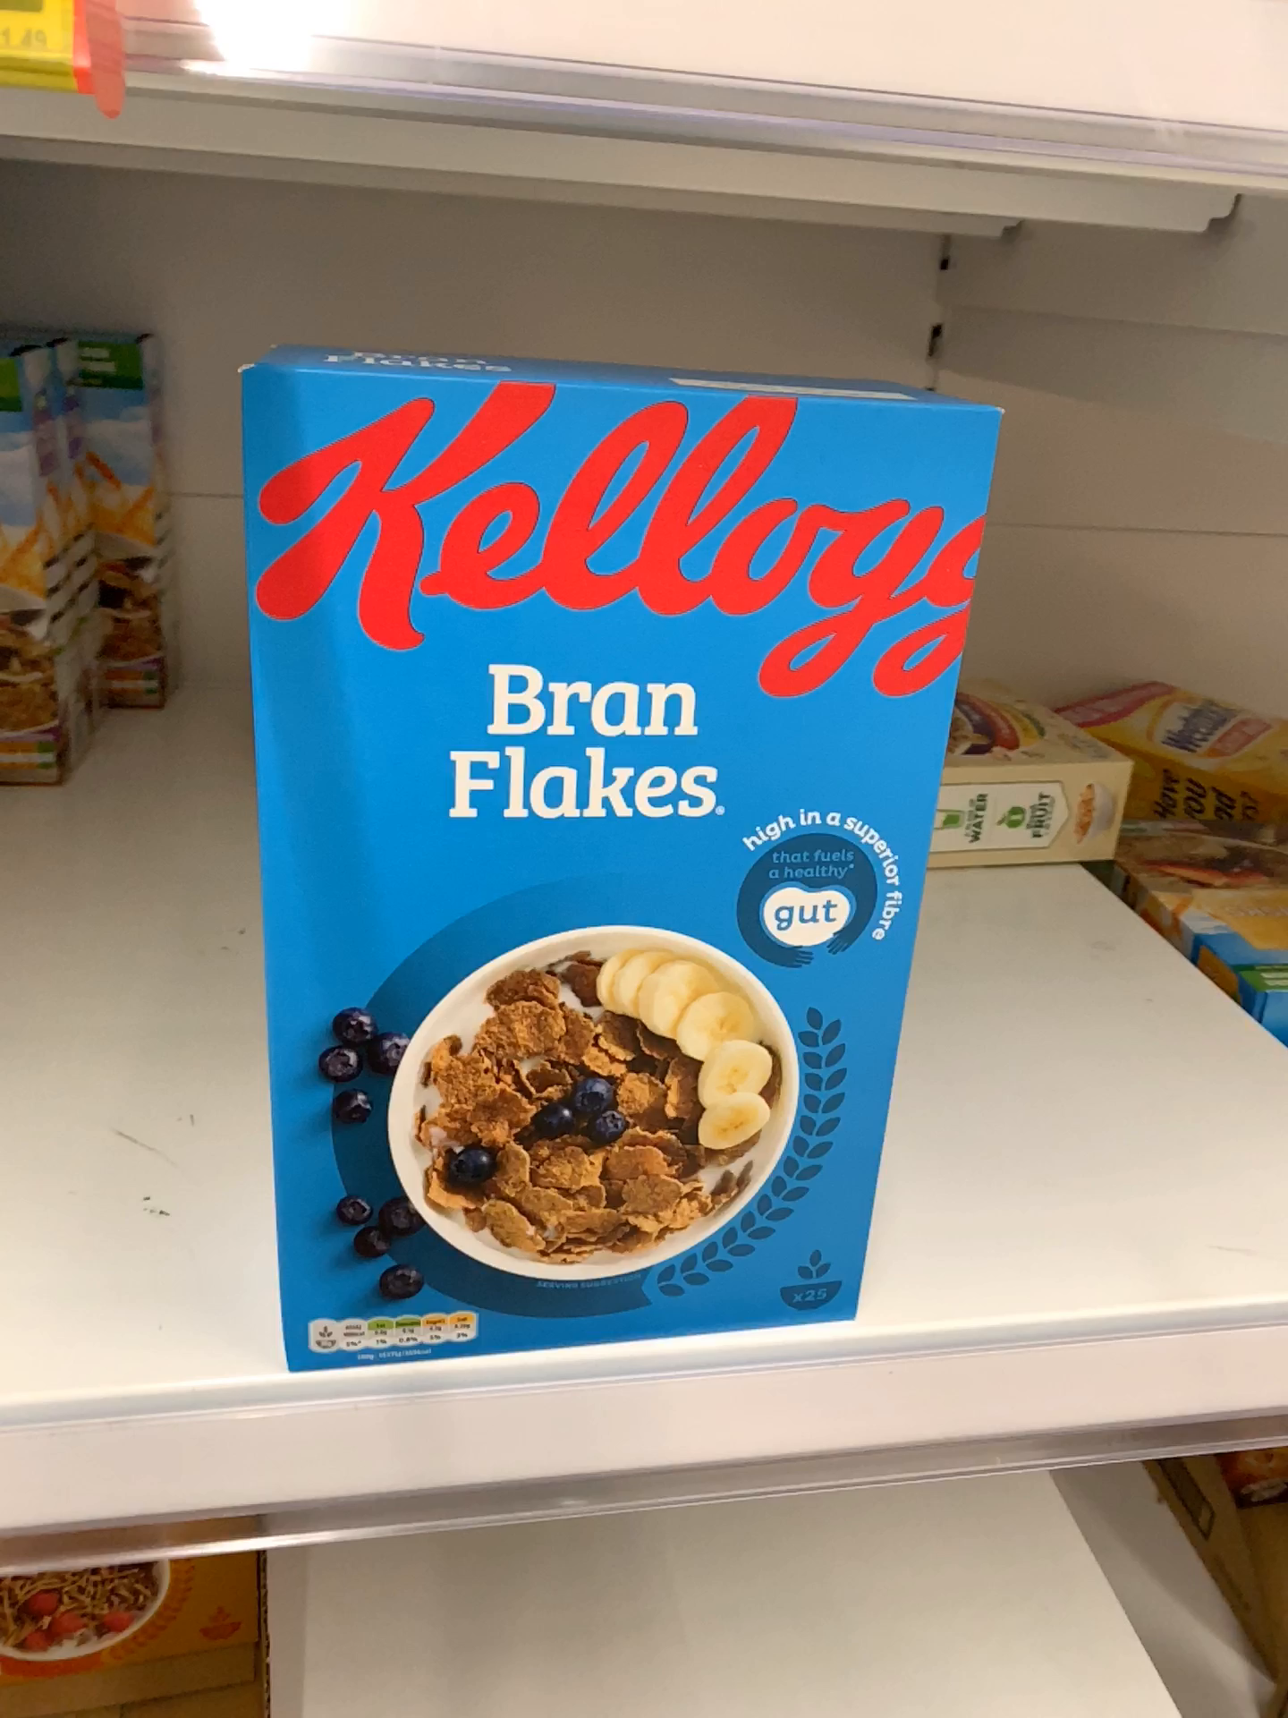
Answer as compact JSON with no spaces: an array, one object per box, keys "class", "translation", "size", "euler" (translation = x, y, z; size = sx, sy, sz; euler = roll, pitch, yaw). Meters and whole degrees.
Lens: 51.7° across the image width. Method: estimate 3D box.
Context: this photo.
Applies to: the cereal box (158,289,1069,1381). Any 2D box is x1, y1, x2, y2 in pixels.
[{"class":"cereal box","translation":[-0.018,-0.002,0.400],"size":[0.210,0.298,0.091],"euler":[-1,24,-12]}]
